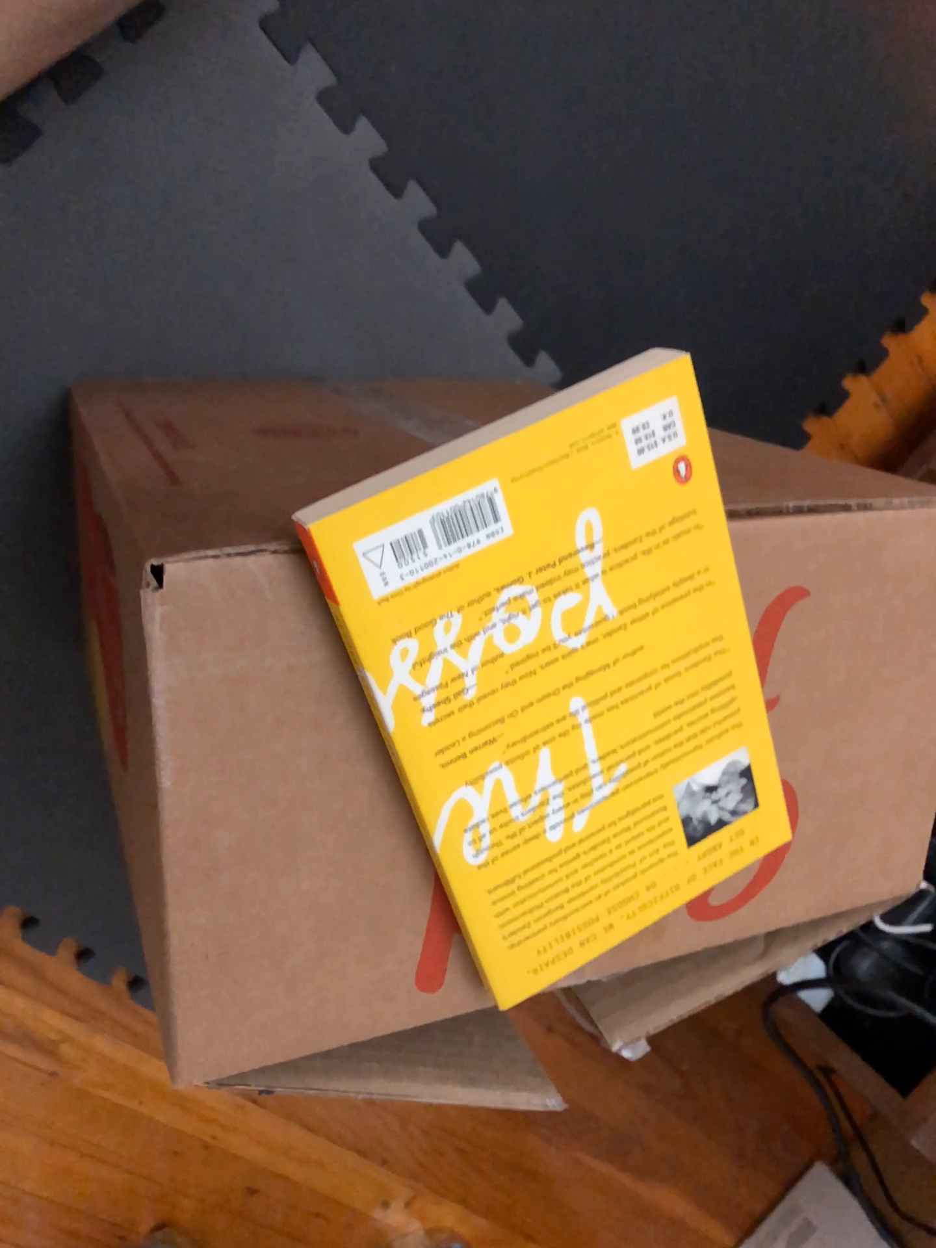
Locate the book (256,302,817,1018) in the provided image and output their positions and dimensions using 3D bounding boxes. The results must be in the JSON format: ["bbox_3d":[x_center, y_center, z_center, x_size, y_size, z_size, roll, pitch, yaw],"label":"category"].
[{"bbox_3d":[0.039,0.019,0.360,0.150,0.020,0.210,-26,116,-14],"label":"book"}]
